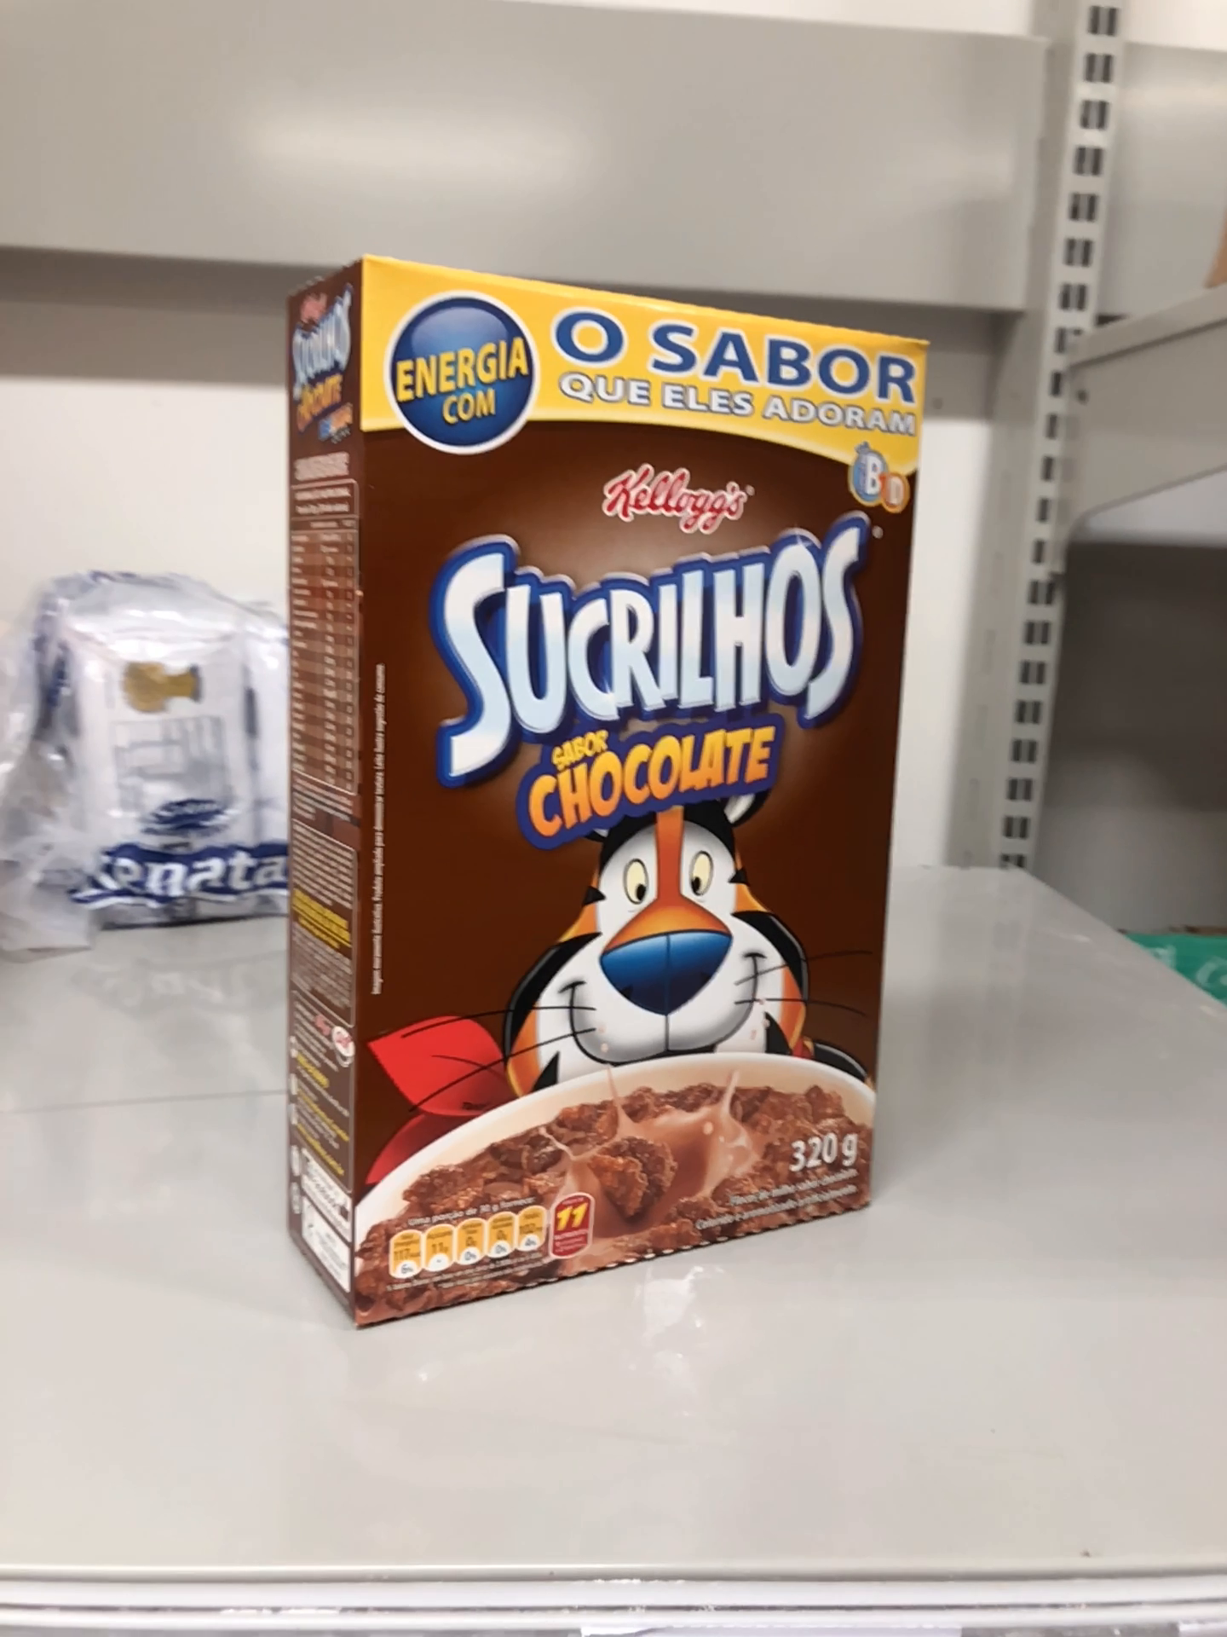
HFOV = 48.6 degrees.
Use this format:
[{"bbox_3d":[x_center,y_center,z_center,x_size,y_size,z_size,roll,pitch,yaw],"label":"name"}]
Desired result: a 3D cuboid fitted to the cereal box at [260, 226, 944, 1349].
[{"bbox_3d":[-0.004,-0.010,0.399,0.180,0.269,0.070,-4,11,-31],"label":"cereal box"}]
